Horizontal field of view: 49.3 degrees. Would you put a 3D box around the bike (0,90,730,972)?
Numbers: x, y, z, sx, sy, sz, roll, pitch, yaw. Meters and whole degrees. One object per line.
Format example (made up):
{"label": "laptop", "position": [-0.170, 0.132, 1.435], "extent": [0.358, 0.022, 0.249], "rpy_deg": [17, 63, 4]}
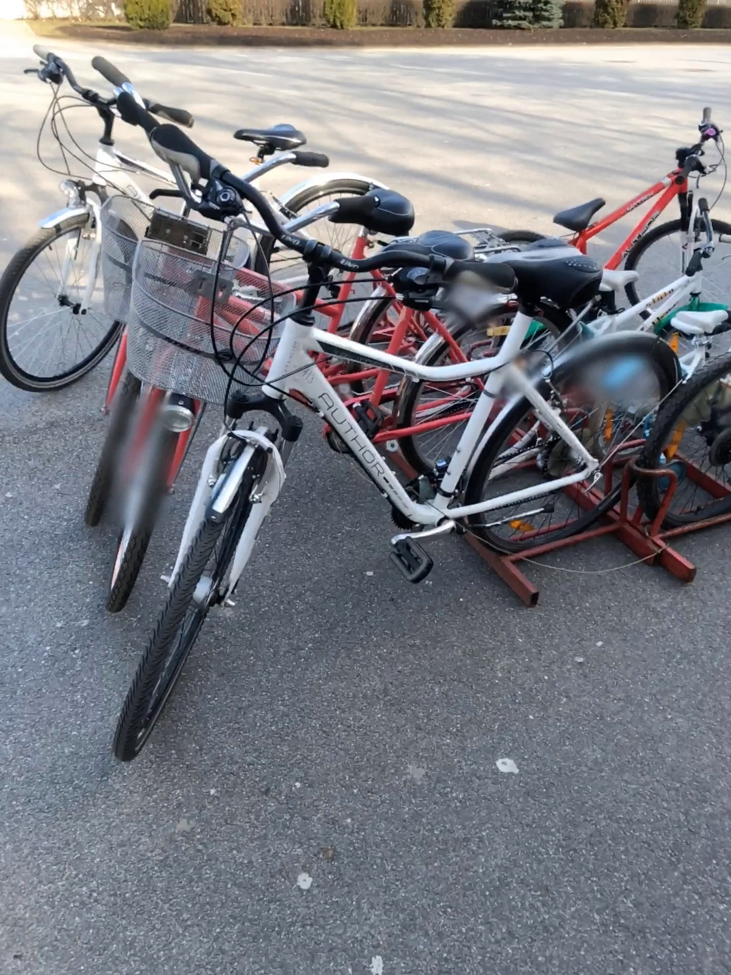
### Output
{"label": "bike", "position": [0.253, -0.110, 1.642], "extent": [1.604, 1.163, 0.621], "rpy_deg": [-23, 39, -34]}
